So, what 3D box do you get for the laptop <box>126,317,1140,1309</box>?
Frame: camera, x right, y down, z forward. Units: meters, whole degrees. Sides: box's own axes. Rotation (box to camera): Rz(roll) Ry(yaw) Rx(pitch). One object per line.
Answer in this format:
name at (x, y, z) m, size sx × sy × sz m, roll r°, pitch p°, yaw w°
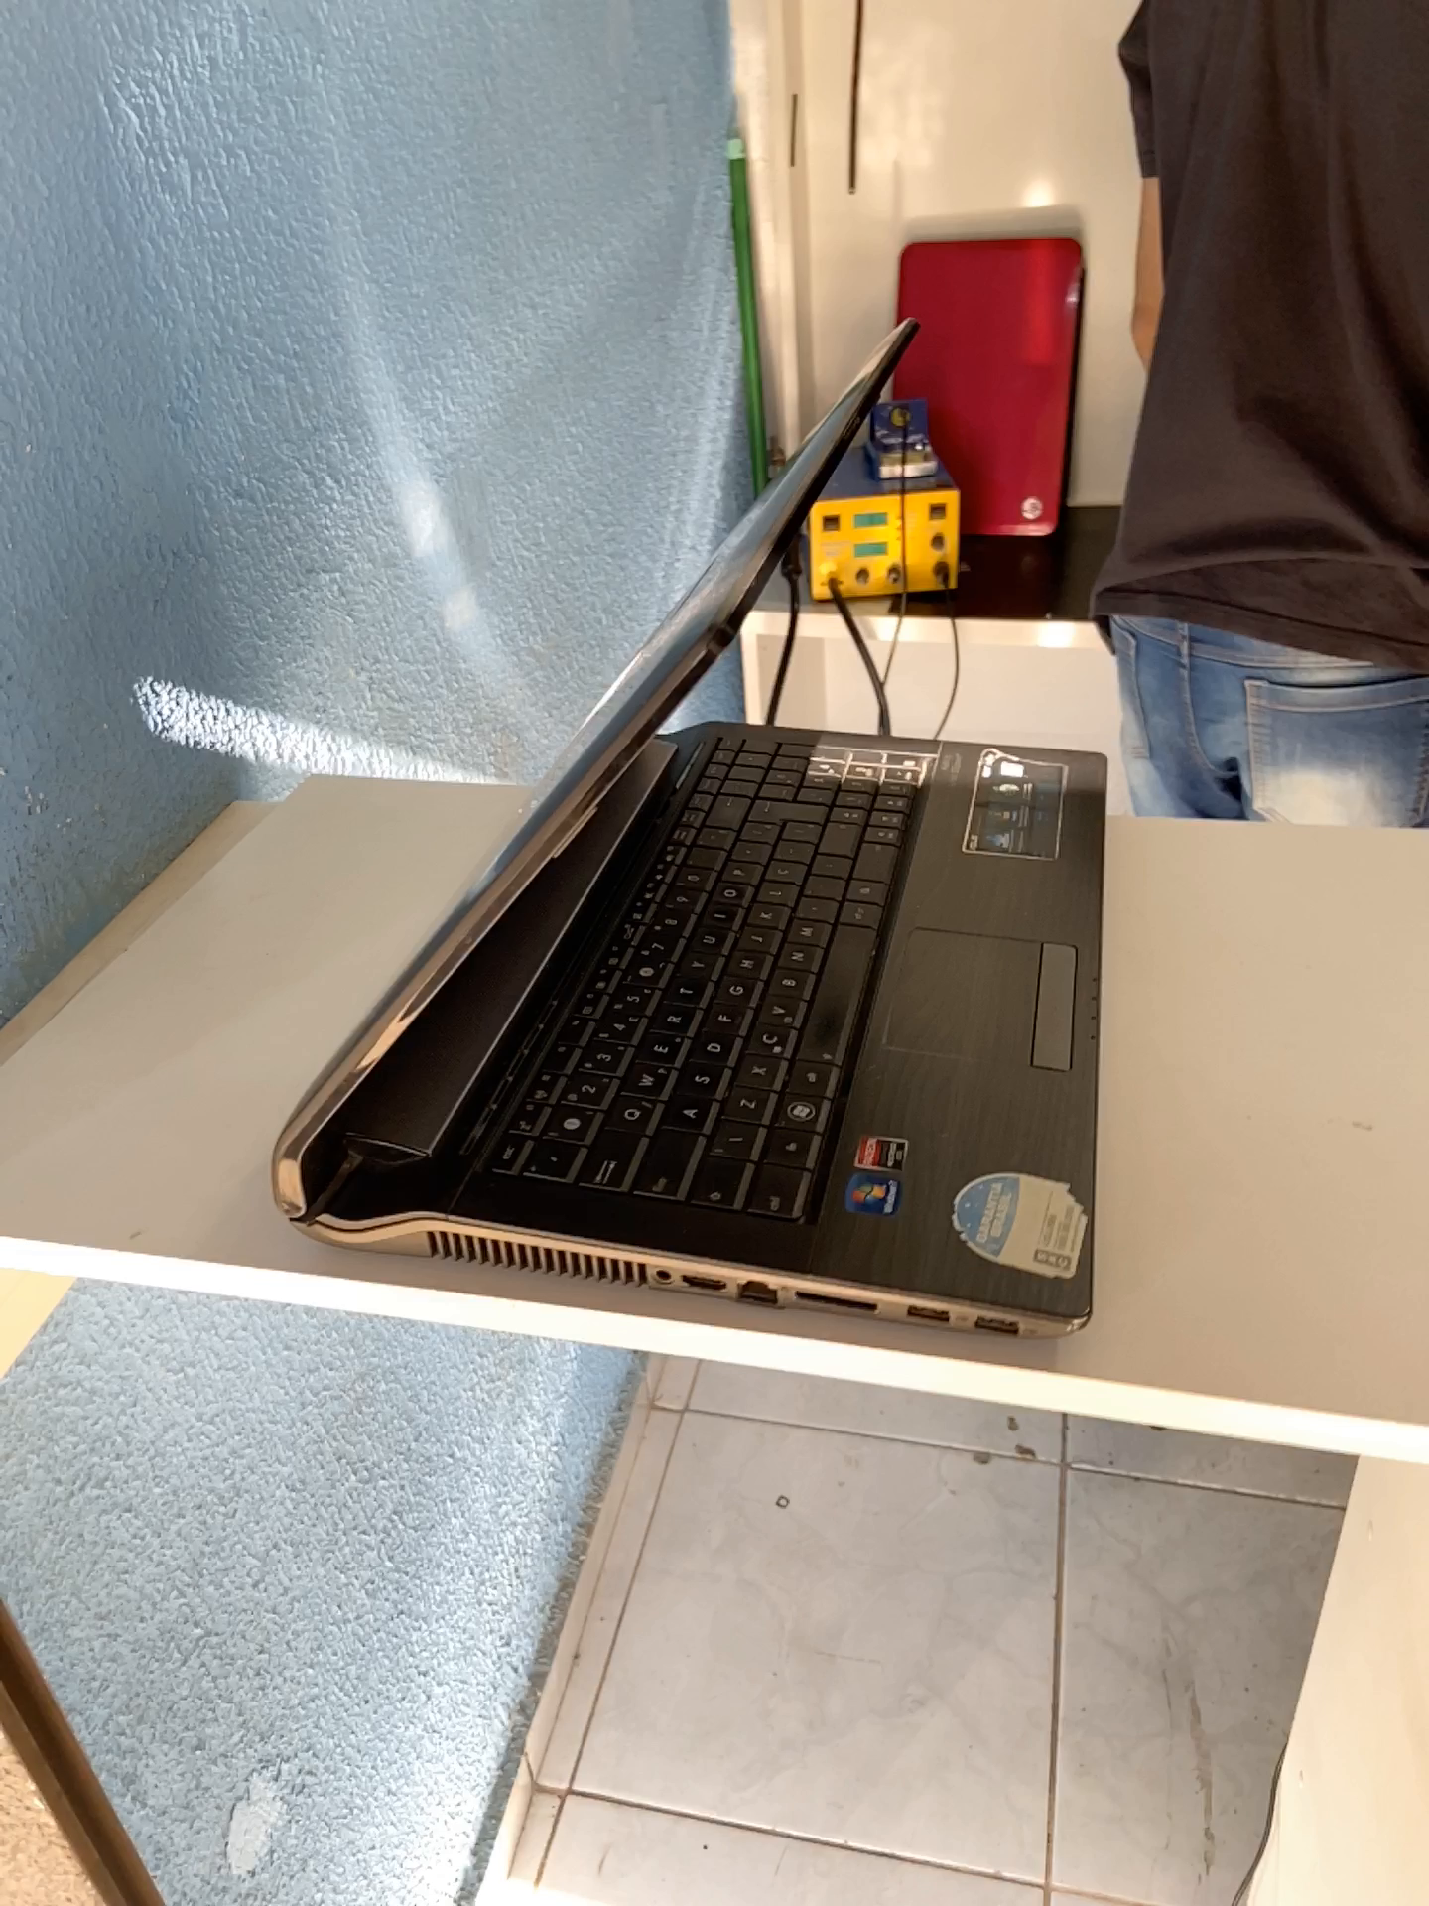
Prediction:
laptop at (0.022, -0.096, 0.565) m, size 0.255 × 0.208 × 0.389 m, roll 4°, pitch 33°, yaw 14°
